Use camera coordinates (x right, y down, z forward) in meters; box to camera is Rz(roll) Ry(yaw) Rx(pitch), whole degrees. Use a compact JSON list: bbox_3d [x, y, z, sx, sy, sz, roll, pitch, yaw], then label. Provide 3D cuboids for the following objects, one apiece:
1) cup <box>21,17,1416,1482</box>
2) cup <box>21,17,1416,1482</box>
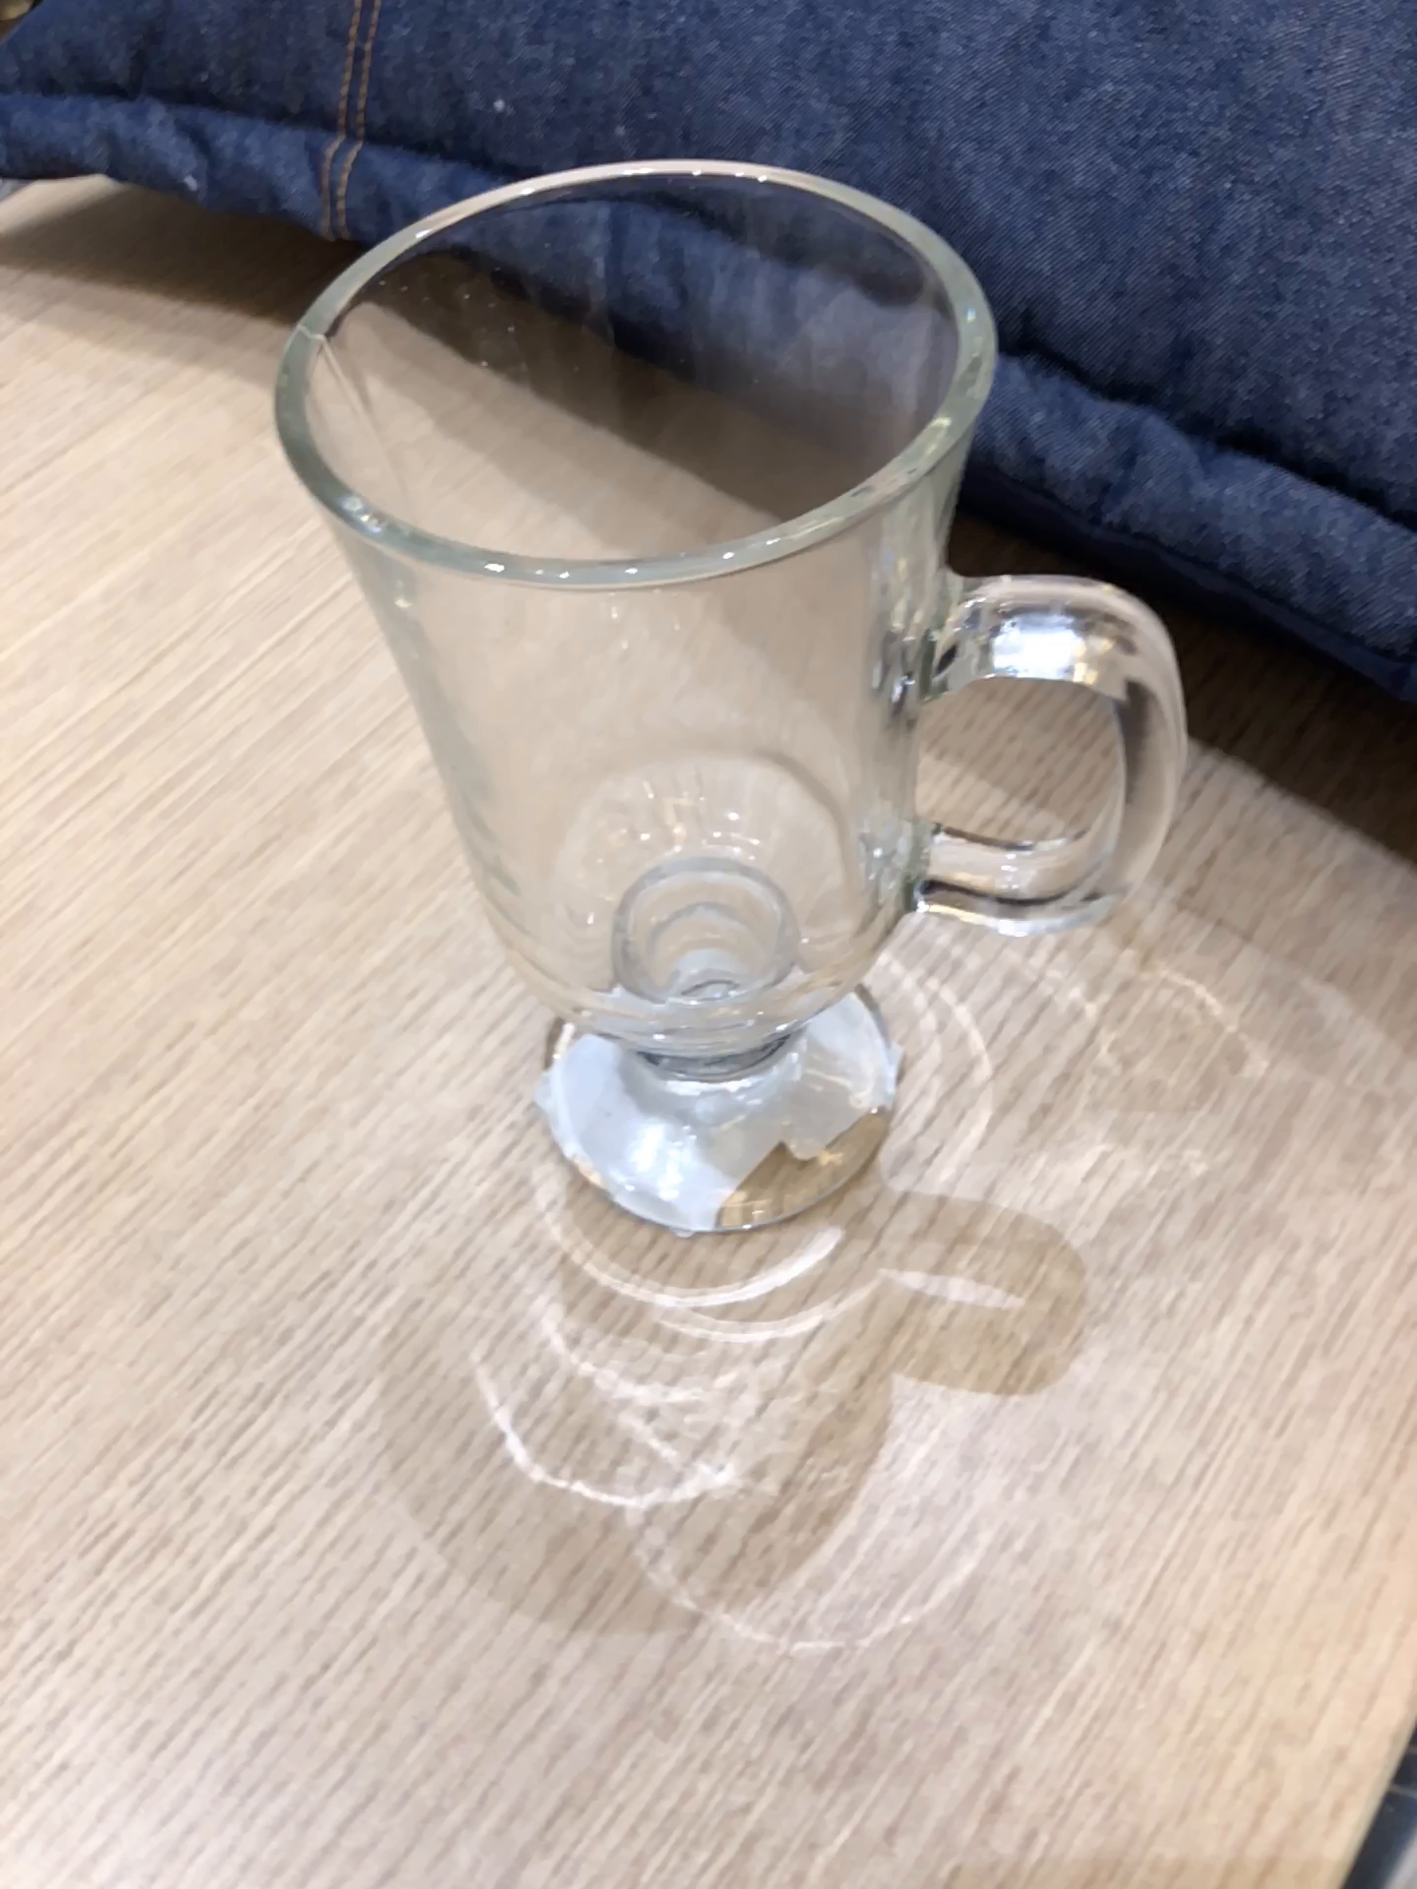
[{"bbox_3d":[0.008,-0.018,0.217,0.110,0.149,0.090,24,59,21],"label":"cup"},{"bbox_3d":[0.008,-0.018,0.217,0.110,0.149,0.090,24,59,21],"label":"cup"}]
